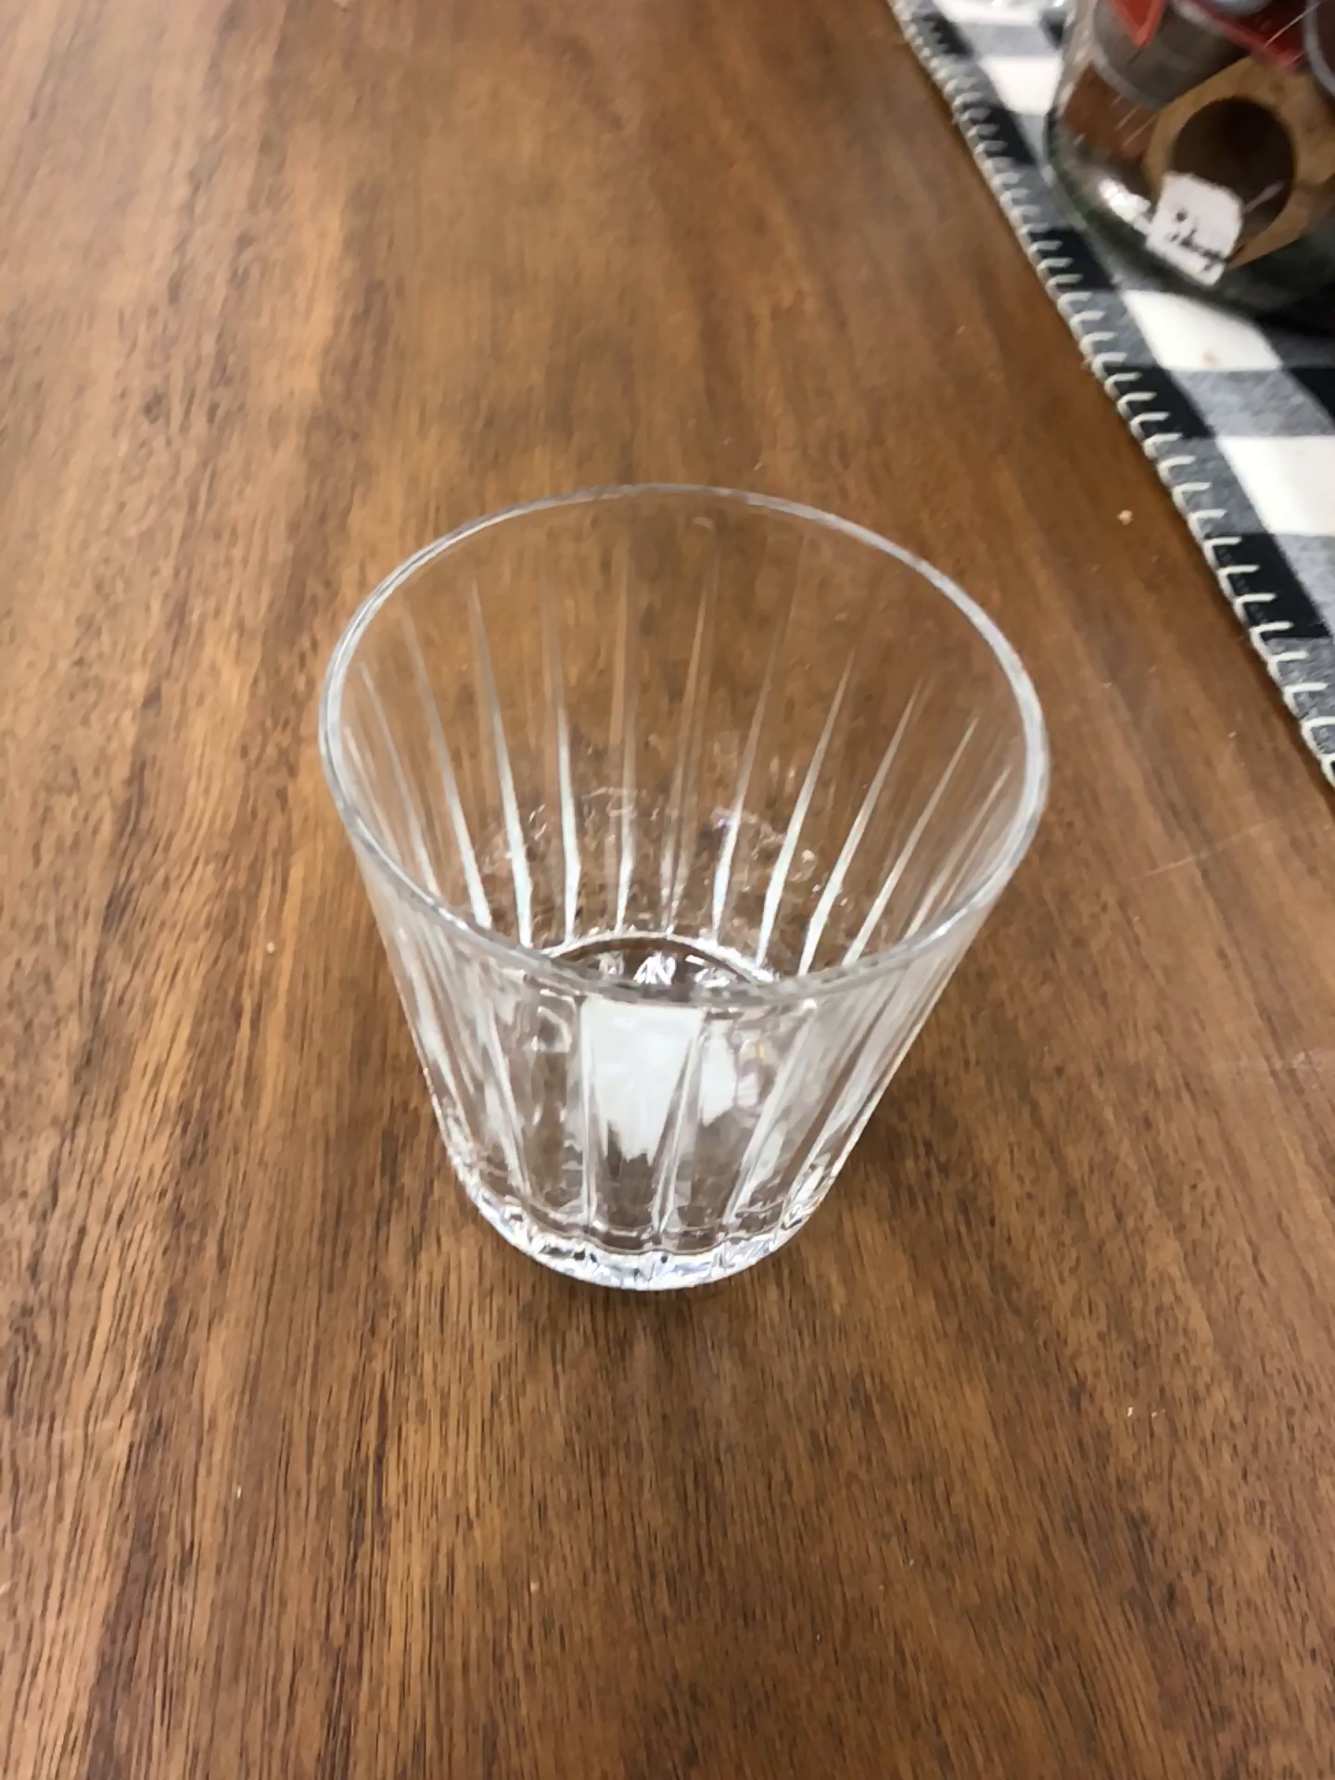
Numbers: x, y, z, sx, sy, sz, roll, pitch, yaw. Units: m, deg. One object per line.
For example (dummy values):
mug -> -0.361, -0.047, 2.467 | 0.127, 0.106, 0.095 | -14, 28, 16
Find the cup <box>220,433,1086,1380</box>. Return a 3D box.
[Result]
cup -> 0.003, 0.003, 0.227 | 0.093, 0.093, 0.090 | 2, 51, -2
